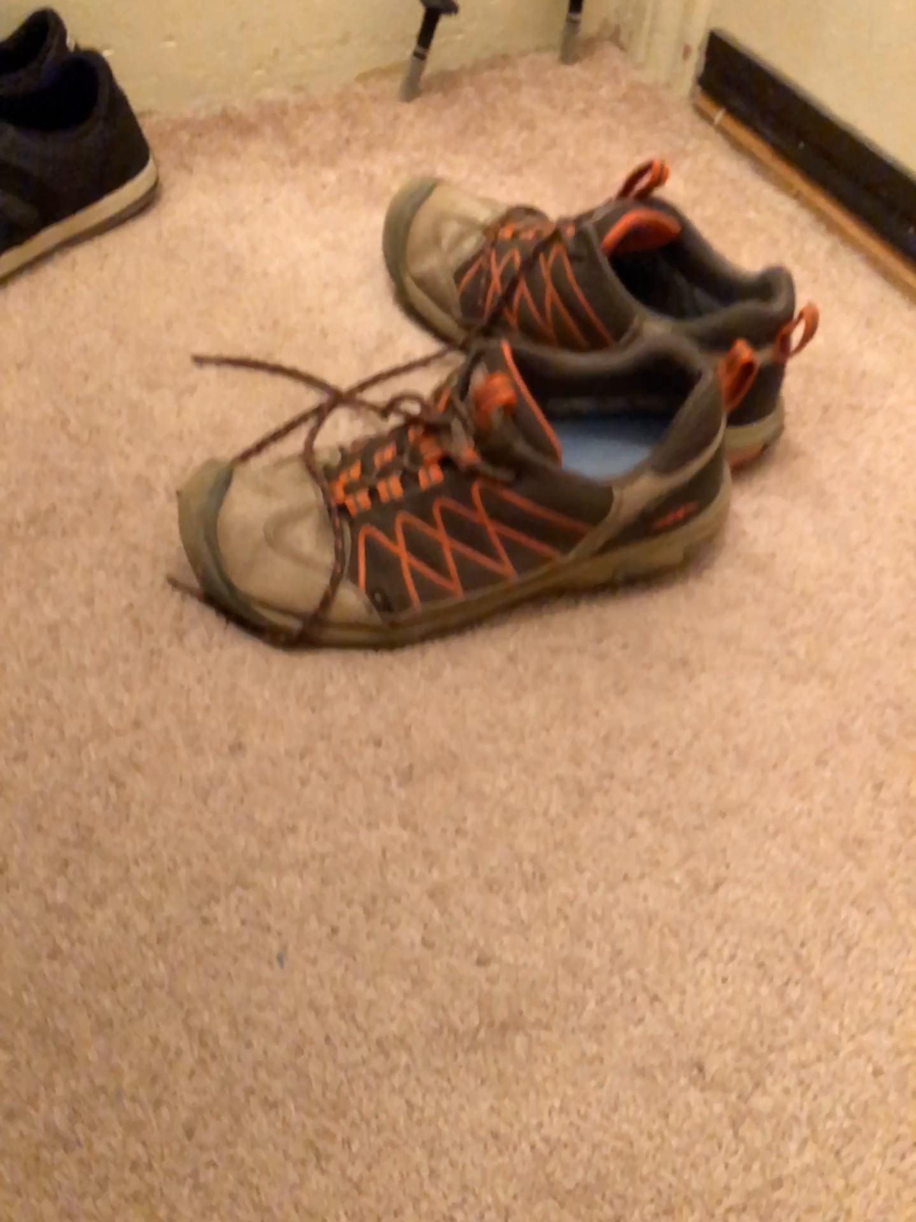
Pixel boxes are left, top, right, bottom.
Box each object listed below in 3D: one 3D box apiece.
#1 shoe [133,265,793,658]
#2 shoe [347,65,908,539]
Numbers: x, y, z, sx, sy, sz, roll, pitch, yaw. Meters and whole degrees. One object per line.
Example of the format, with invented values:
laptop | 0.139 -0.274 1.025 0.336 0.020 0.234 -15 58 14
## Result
shoe | -0.004 -0.073 0.499 0.270 0.129 0.121 -4 54 -7
shoe | 0.086 -0.196 0.626 0.300 0.129 0.120 34 59 20
